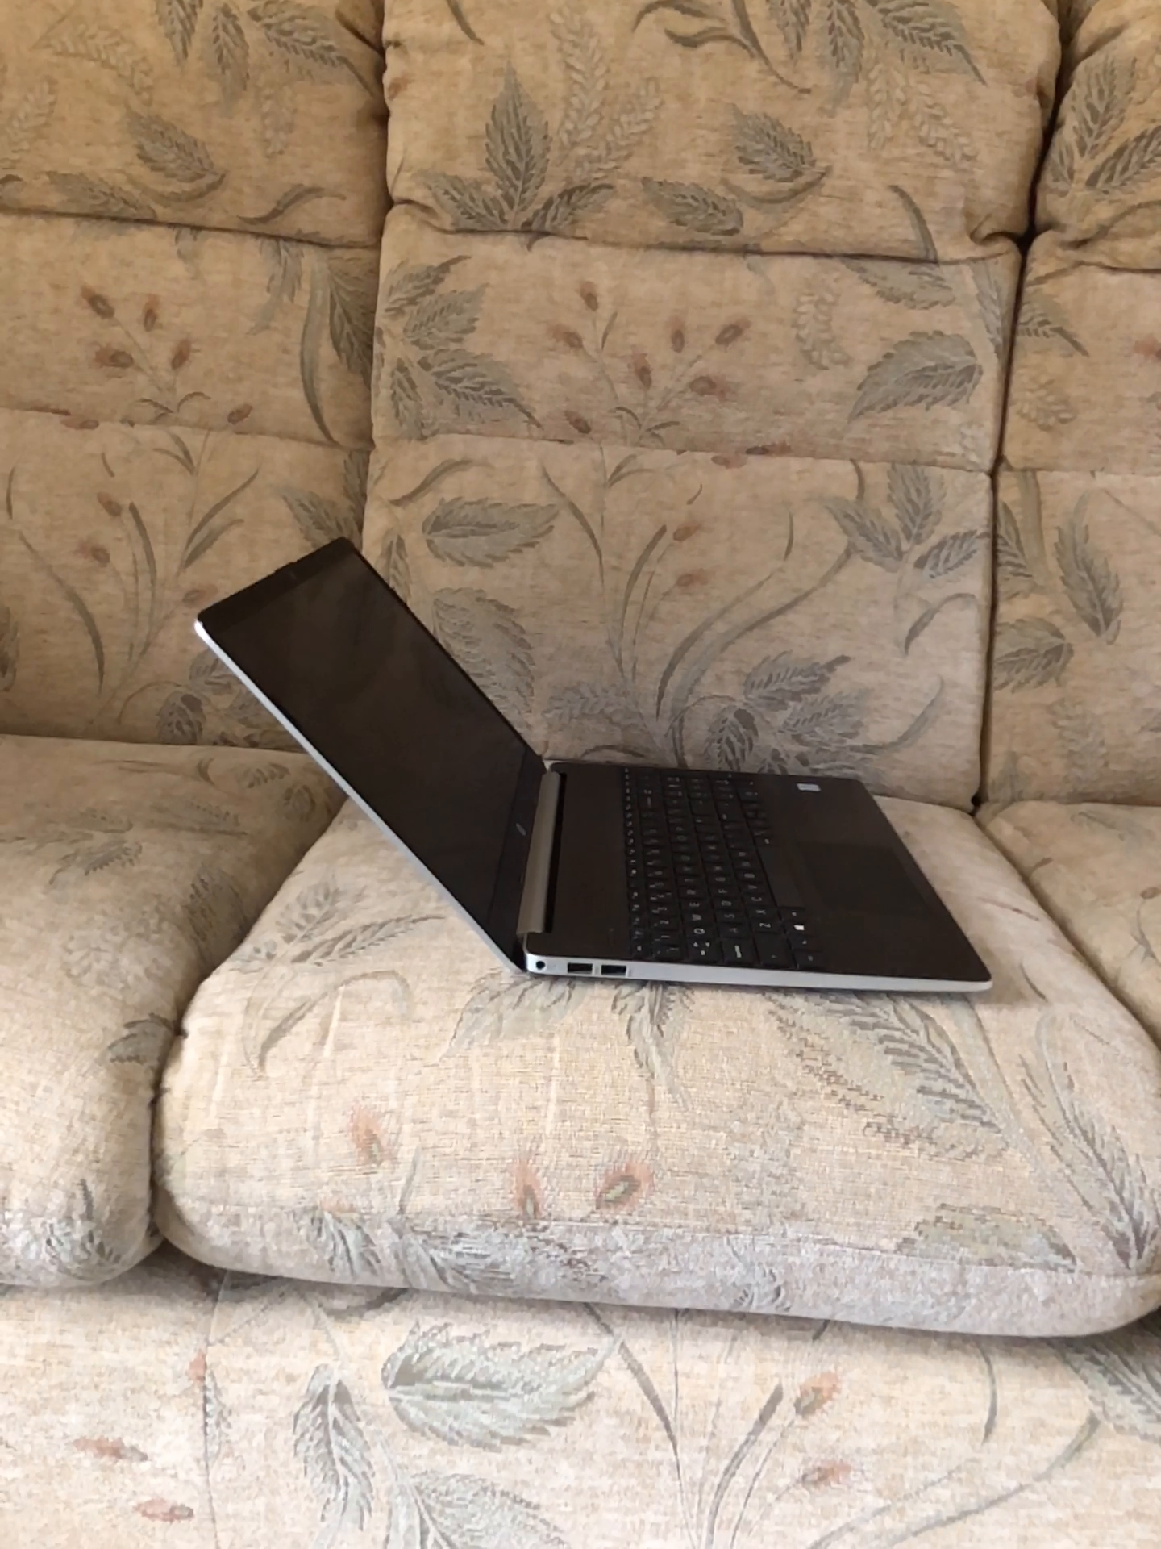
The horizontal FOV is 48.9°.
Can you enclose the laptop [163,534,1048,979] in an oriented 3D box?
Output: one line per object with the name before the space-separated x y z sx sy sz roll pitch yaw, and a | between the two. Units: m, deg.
laptop | 0.015 -0.032 0.768 0.397 0.163 0.340 3 18 -1
